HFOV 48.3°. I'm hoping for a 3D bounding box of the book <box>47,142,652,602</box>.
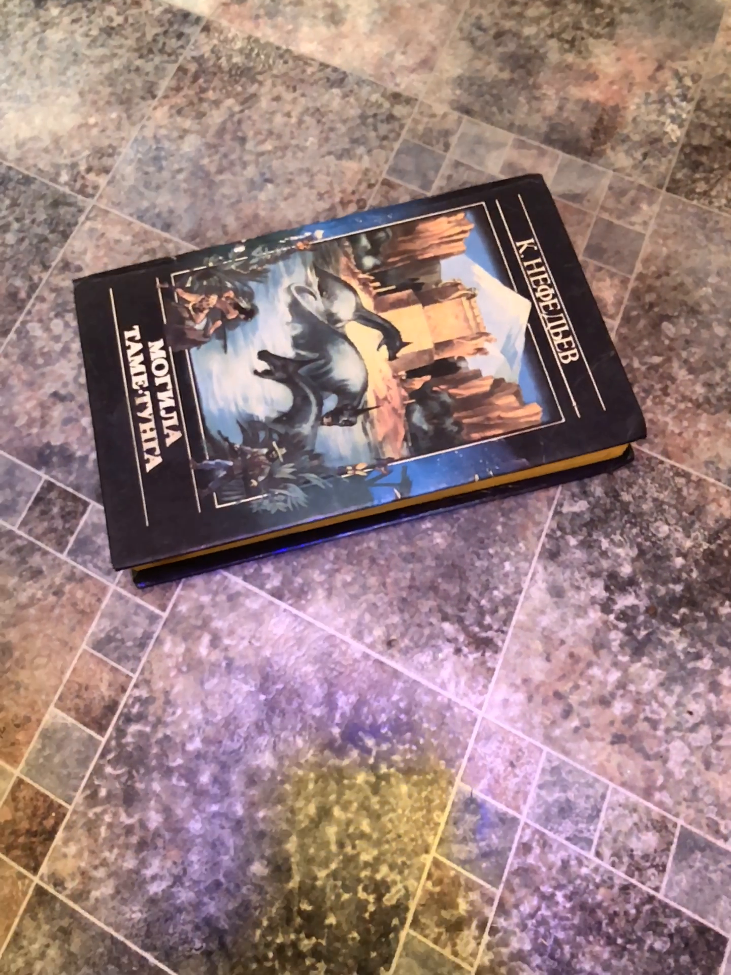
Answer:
[{"bbox_3d":[-0.013,-0.049,0.318,0.201,0.030,0.139,-13,69,-1],"label":"book"}]
